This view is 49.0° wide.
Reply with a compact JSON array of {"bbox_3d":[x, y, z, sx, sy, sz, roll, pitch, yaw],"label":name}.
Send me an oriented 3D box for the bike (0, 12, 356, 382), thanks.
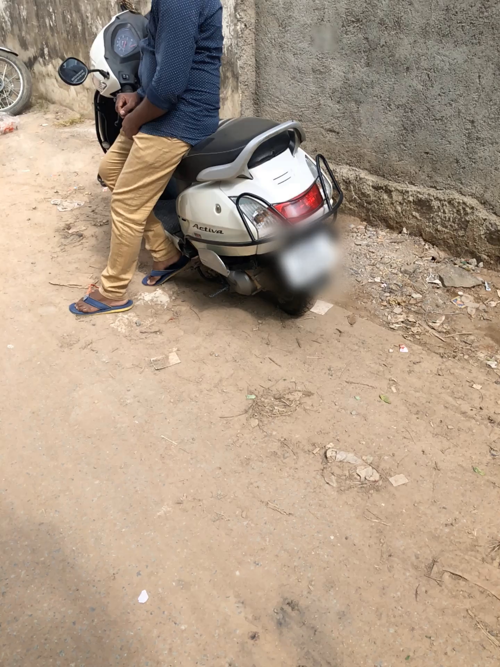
[{"bbox_3d":[-0.442,-0.735,2.465,0.671,1.139,1.626,-25,41,-31],"label":"bike"}]
